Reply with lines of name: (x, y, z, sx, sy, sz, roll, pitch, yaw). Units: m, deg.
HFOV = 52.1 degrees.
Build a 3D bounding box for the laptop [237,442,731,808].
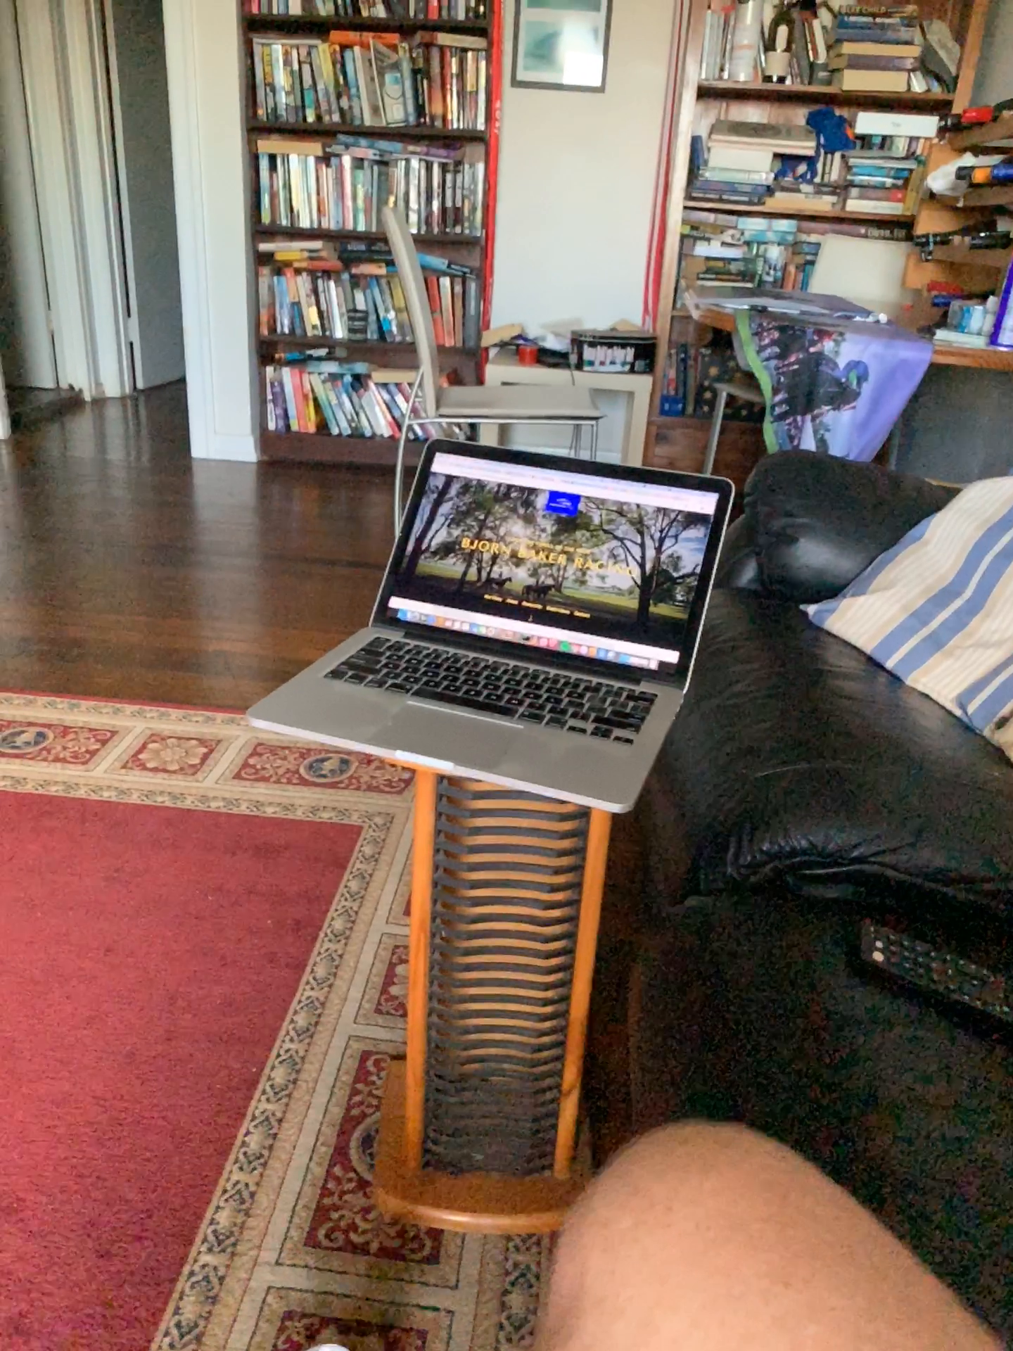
laptop: (0.001, -0.072, 0.888, 0.312, 0.161, 0.341, 12, 24, 17)
